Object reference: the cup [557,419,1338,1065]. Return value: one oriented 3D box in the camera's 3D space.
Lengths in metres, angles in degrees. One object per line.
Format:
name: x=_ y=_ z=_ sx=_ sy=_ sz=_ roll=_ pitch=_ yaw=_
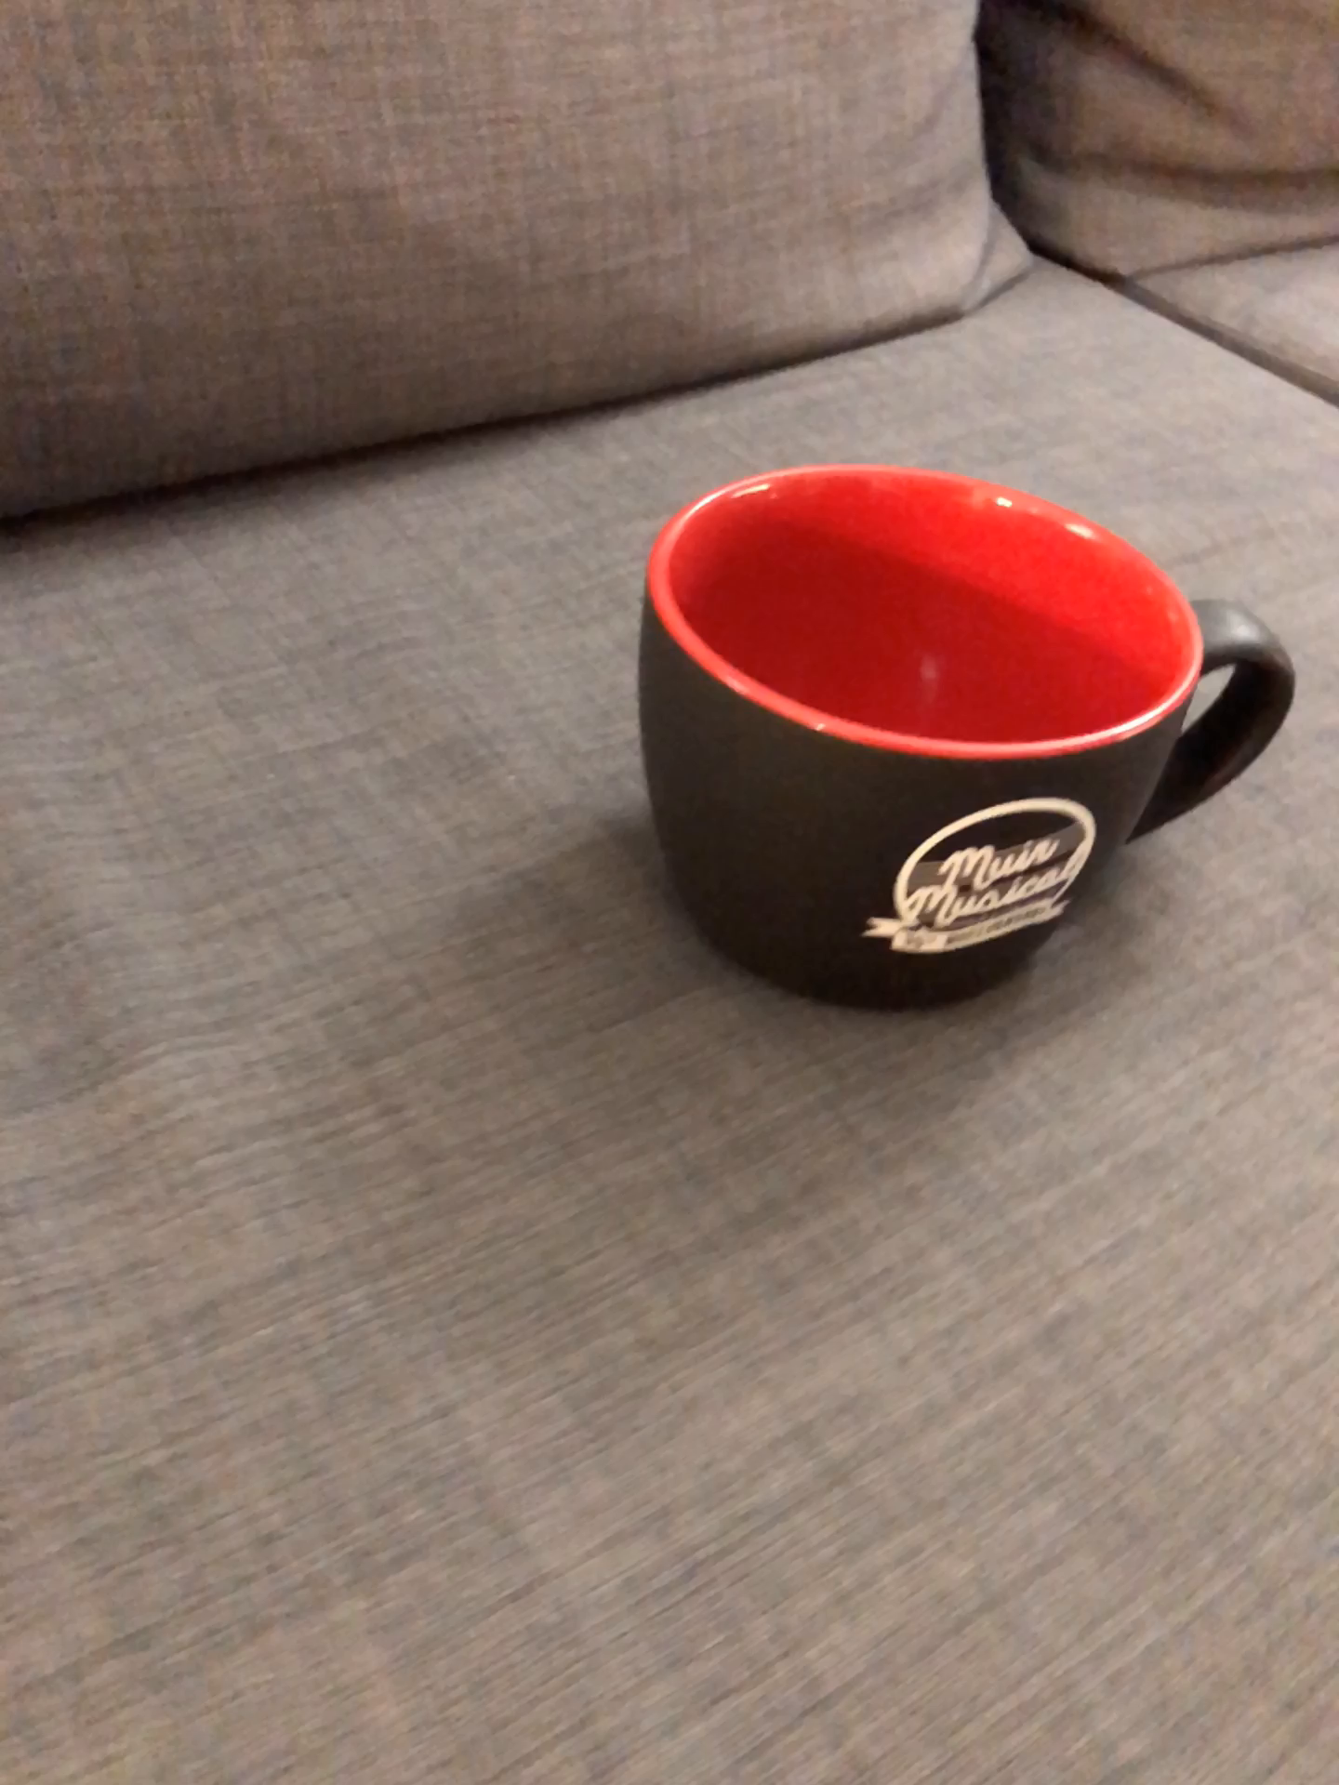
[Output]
cup: x=0.064 y=-0.042 z=0.347 sx=0.160 sy=0.080 sz=0.121 roll=-7 pitch=42 yaw=-12
